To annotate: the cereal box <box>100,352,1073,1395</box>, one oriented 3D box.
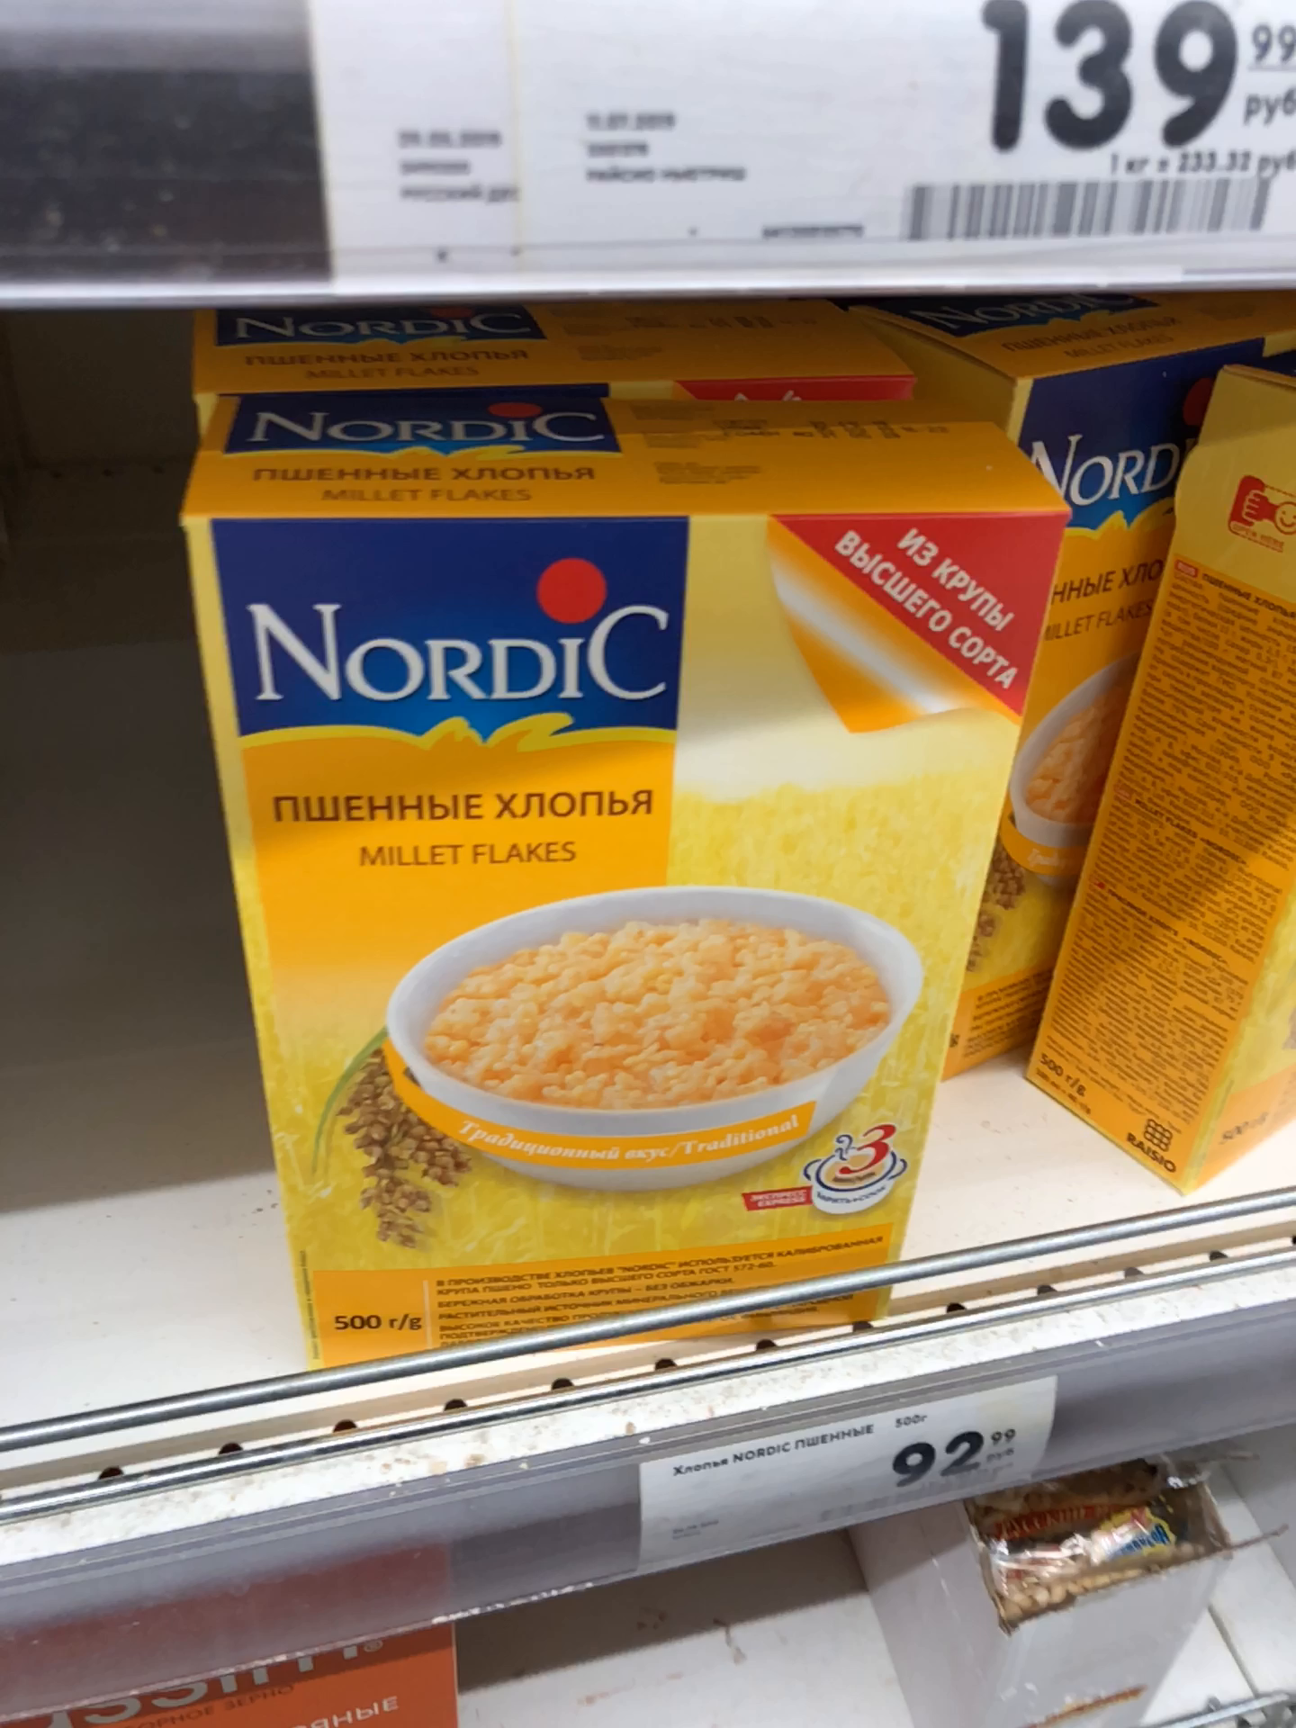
[{"bbox_3d":[-0.014,0.012,0.290,0.140,0.209,0.060,-2,36,-7],"label":"cereal box"}]
